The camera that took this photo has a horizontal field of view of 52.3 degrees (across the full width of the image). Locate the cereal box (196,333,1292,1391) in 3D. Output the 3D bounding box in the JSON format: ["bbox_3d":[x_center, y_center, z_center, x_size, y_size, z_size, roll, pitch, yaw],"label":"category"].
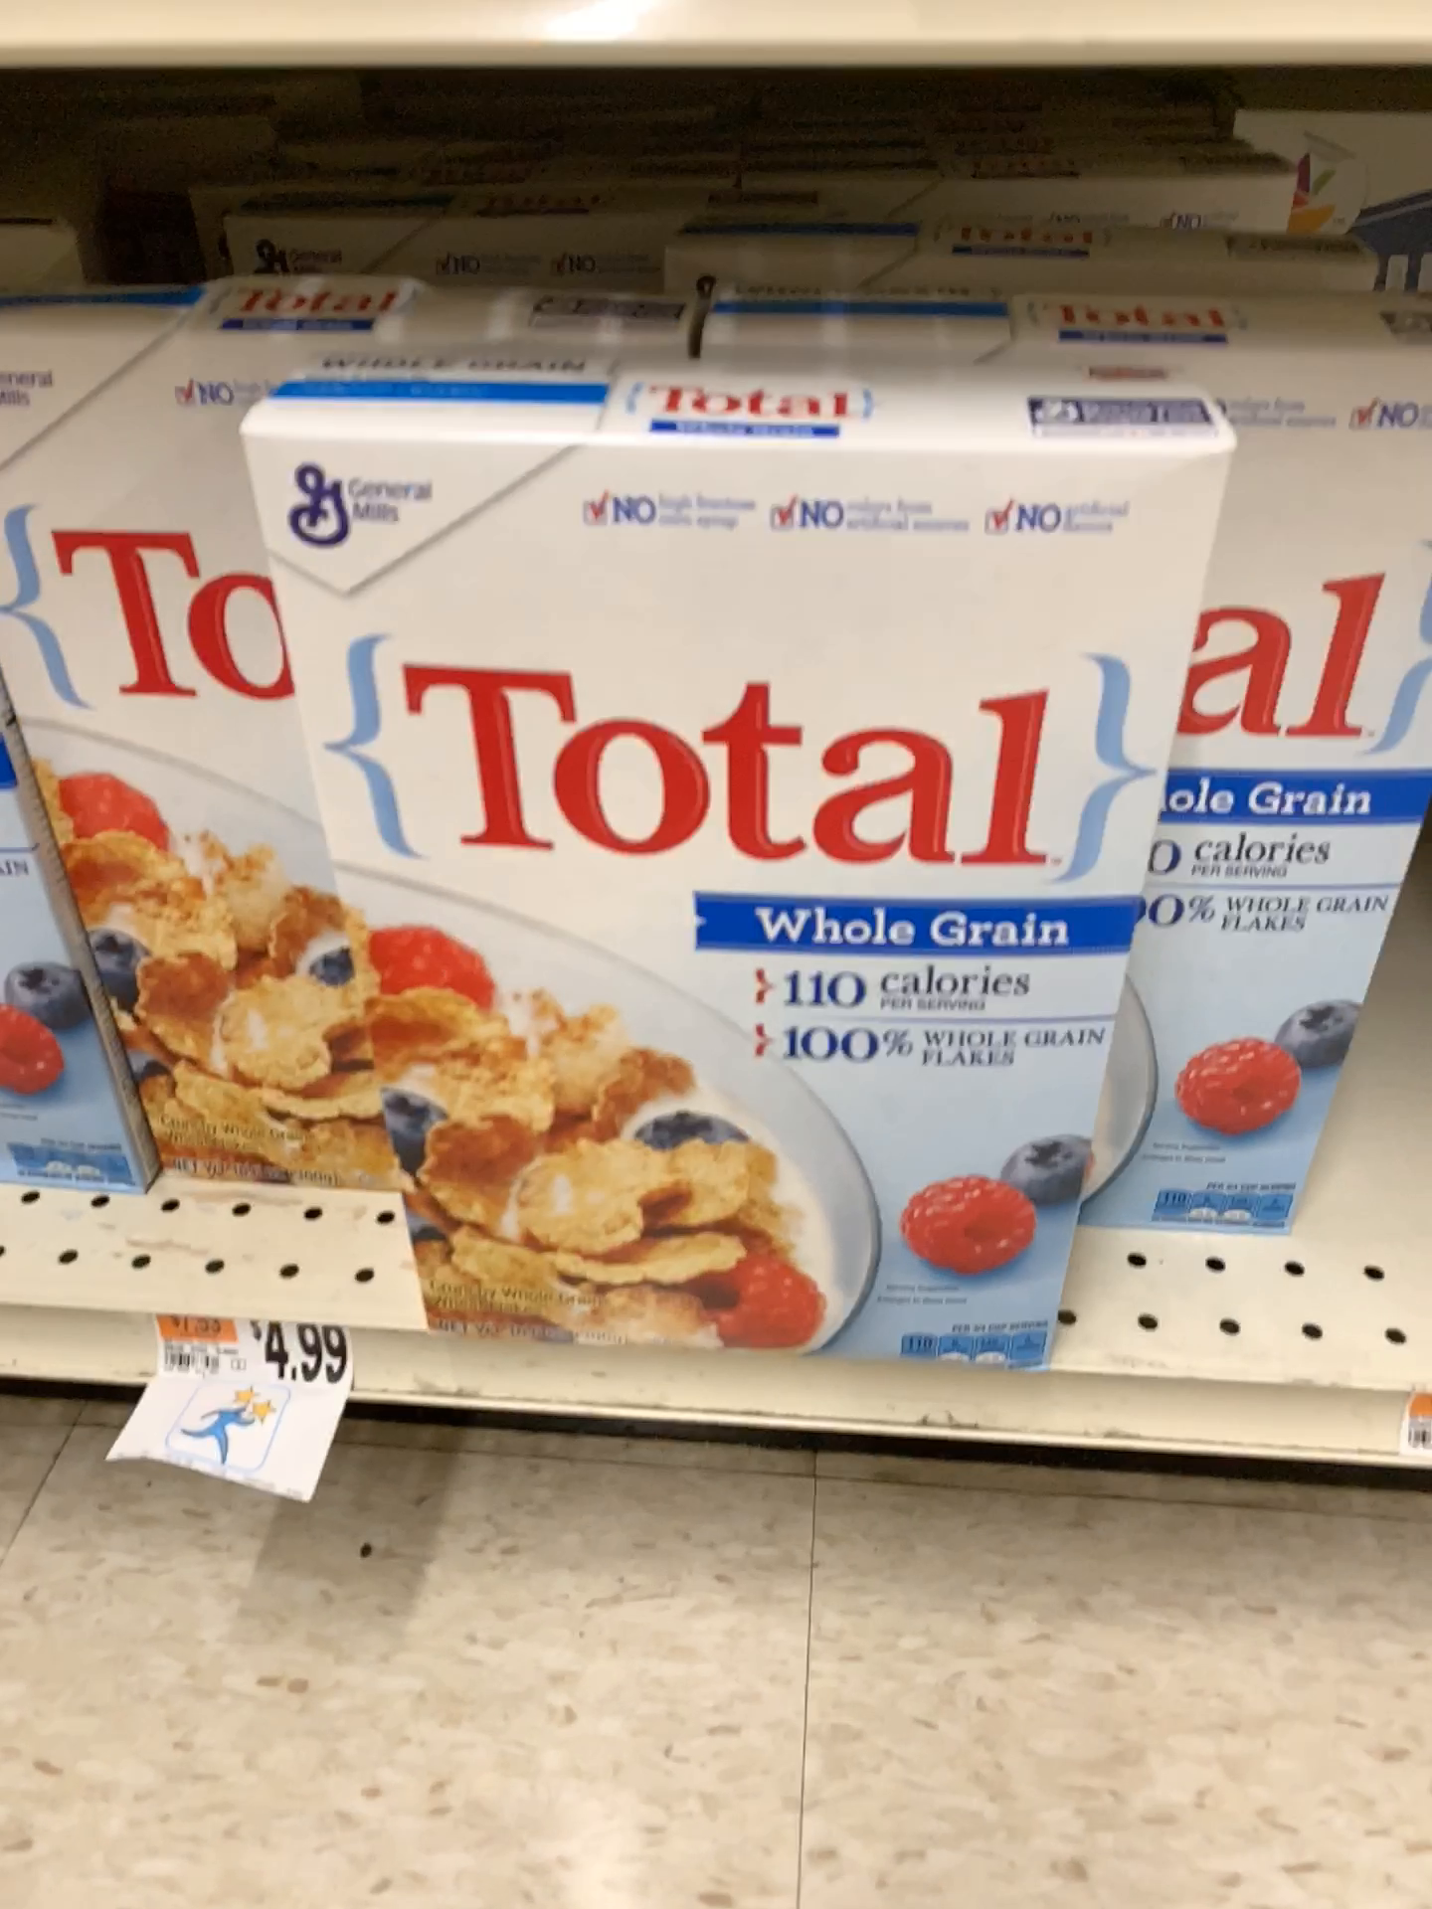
[{"bbox_3d":[0.006,-0.003,0.370,0.200,0.278,0.050,3,38,5],"label":"cereal box"}]
